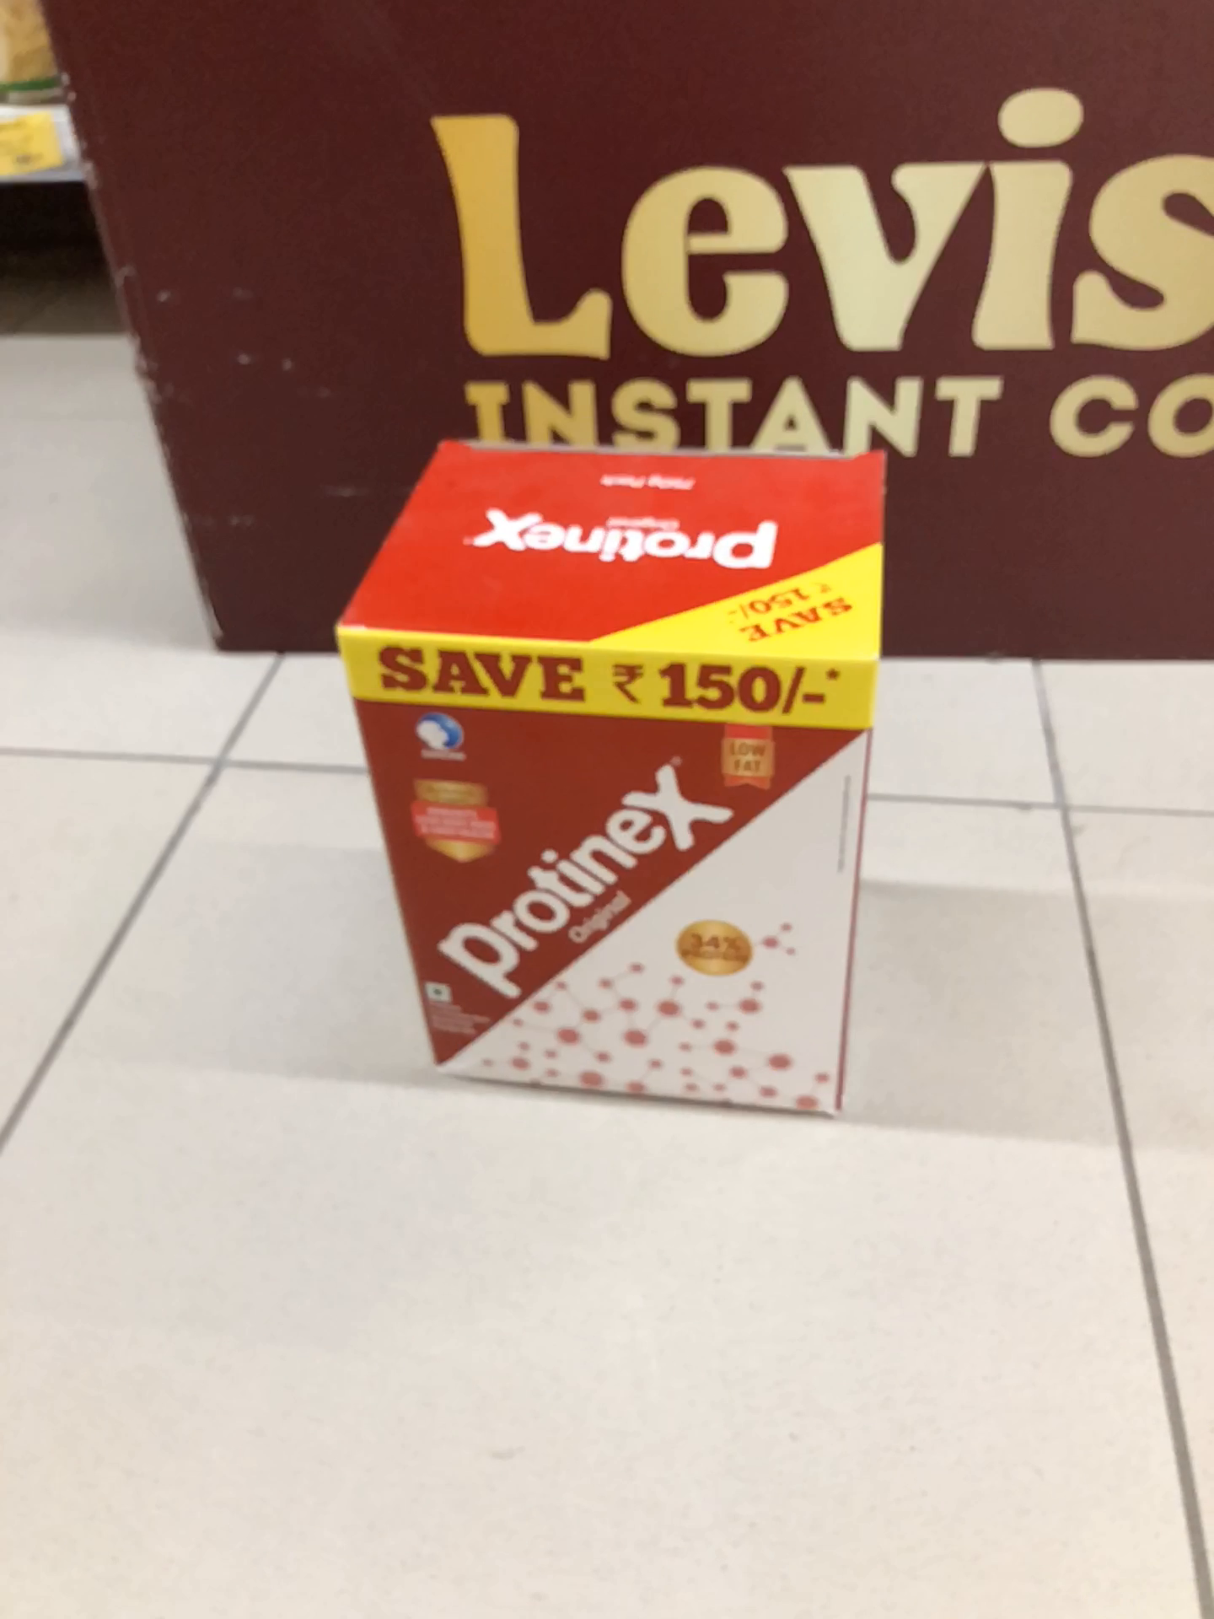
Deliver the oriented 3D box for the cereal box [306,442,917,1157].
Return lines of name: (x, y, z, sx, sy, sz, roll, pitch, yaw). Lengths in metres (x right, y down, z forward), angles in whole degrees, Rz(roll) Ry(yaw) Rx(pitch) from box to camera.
cereal box: (0.014, -0.002, 0.458, 0.160, 0.199, 0.121, 4, 40, 10)
